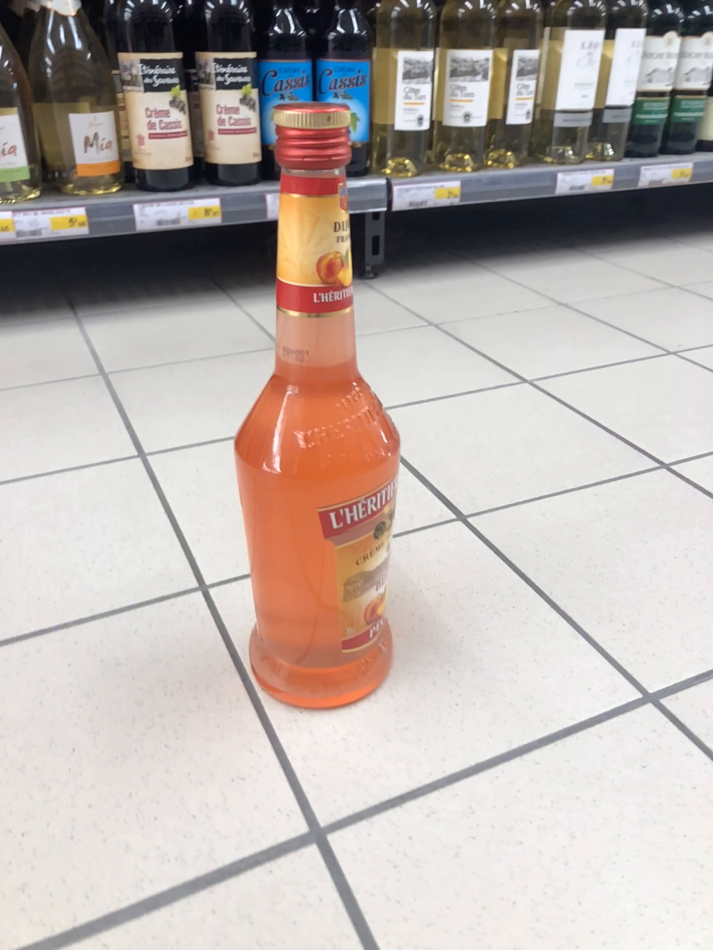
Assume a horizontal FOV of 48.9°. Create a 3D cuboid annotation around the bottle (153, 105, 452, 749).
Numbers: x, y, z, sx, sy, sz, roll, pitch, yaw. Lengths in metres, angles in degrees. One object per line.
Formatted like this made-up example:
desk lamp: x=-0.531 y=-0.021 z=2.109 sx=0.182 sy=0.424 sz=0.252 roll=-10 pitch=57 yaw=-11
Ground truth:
bottle: x=-0.020 y=-0.017 z=0.394 sx=0.090 sy=0.298 sz=0.091 roll=0 pitch=28 yaw=0
